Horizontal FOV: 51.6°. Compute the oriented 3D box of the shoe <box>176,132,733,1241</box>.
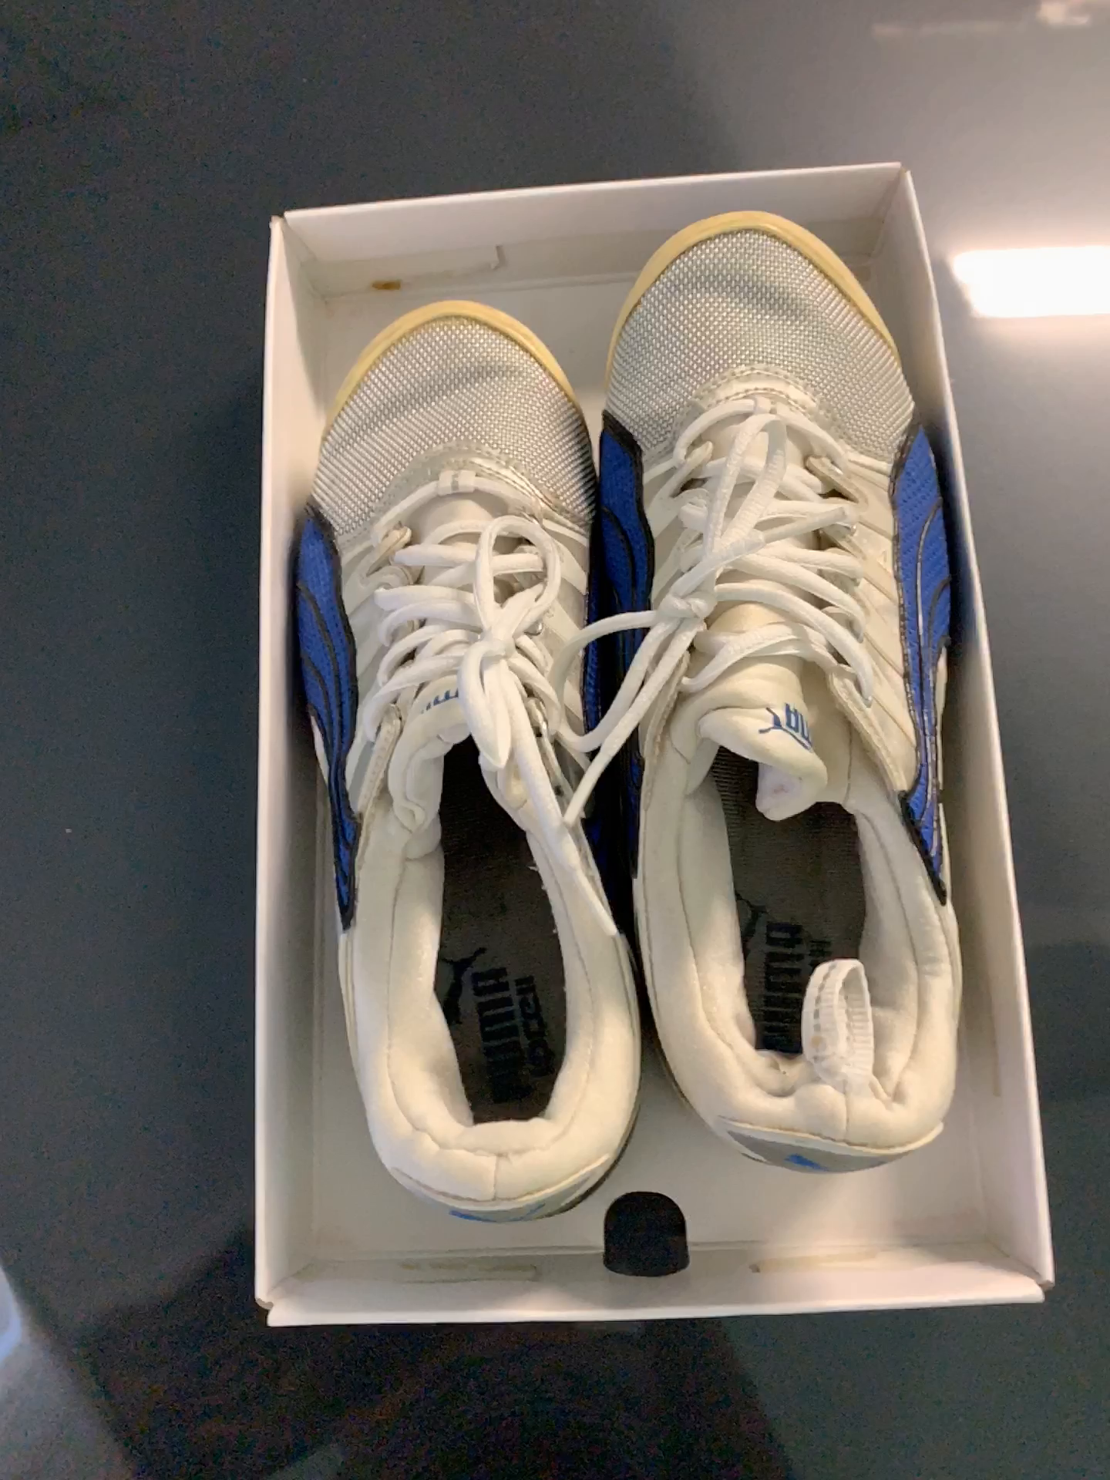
[{"bbox_3d":[-0.027,-0.021,0.318,0.110,0.090,0.282,-5,69,2],"label":"shoe"}]

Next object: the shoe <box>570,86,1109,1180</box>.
[{"bbox_3d":[0.064,-0.032,0.311,0.110,0.090,0.282,-2,69,4],"label":"shoe"}]
